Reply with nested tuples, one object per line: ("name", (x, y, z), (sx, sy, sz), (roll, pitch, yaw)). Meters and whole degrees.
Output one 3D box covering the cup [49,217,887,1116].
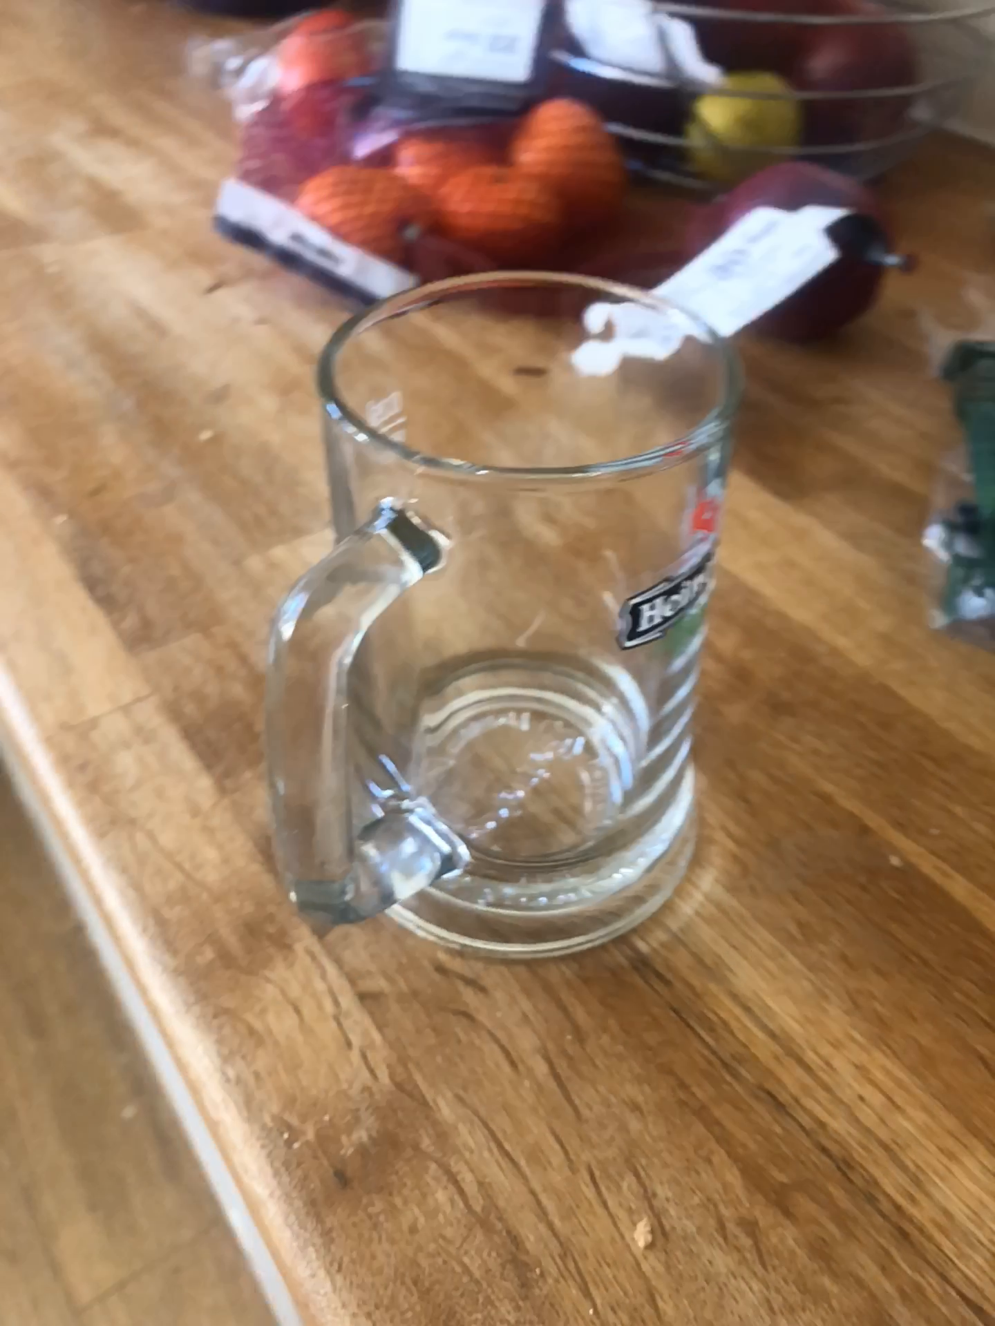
("cup", (0.001, -0.008, 0.222), (0.091, 0.109, 0.115), (24, 45, 25))
